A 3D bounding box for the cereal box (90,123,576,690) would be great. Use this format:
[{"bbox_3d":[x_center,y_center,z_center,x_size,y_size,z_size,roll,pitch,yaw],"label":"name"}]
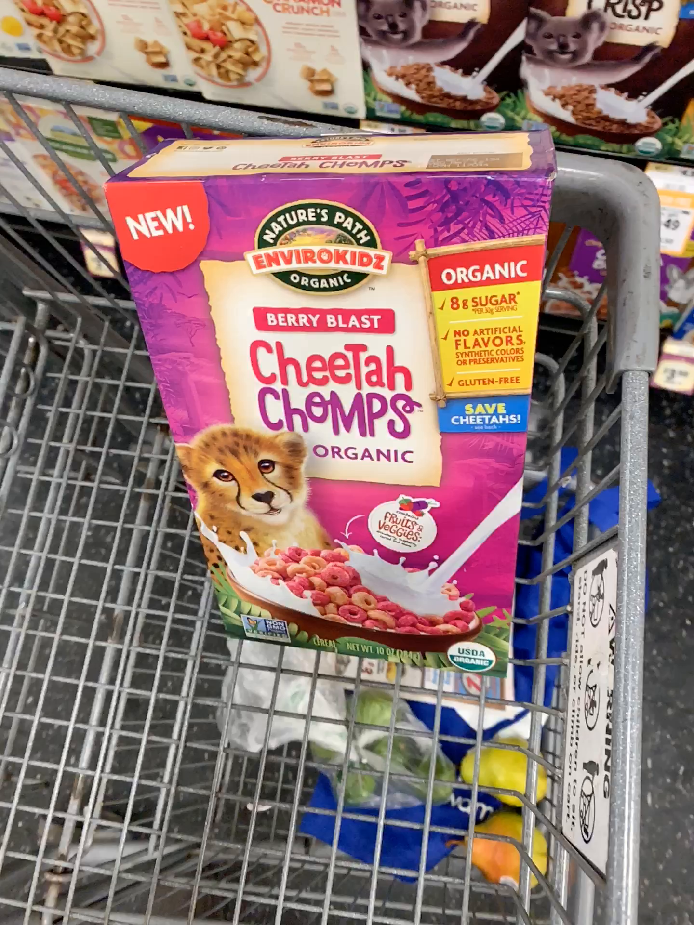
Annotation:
[{"bbox_3d":[0.004,-0.011,0.326,0.160,0.250,0.060,5,37,12],"label":"cereal box"}]
